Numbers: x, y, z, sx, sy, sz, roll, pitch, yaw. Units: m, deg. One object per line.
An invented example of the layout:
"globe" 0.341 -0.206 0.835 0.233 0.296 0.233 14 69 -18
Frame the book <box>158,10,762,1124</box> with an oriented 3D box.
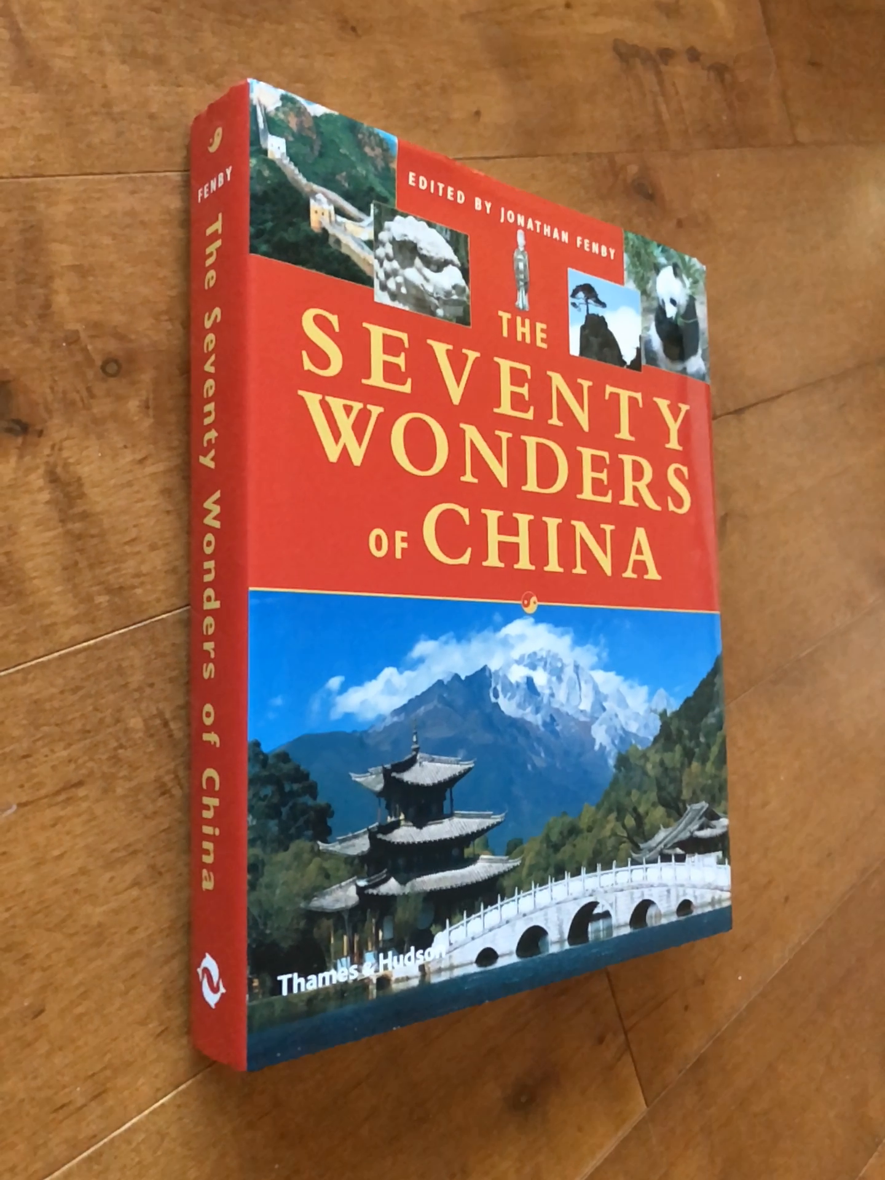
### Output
"book" 0.017 -0.008 0.341 0.221 0.050 0.290 3 83 -39
